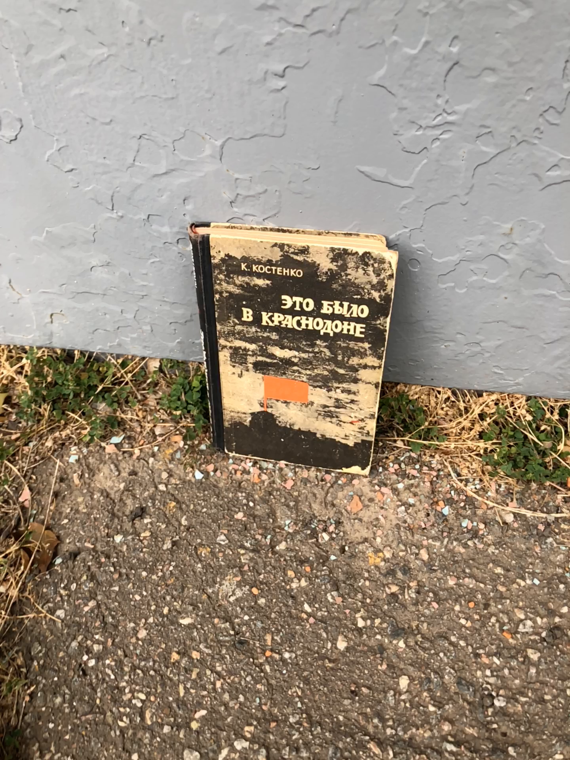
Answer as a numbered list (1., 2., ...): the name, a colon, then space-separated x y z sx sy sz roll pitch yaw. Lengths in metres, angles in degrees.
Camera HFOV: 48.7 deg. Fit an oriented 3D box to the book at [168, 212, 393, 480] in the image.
1. book: -0.001 -0.017 0.461 0.140 0.199 0.030 7 39 11
